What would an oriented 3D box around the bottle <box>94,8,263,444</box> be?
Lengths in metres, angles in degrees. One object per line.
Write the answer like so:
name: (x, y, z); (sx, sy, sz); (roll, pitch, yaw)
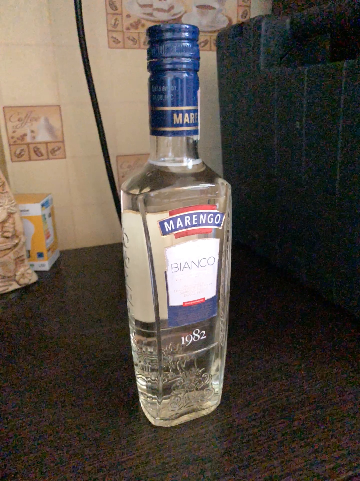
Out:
bottle: (-0.001, 0.005, 0.274); (0.090, 0.289, 0.050); (-8, 21, -20)
